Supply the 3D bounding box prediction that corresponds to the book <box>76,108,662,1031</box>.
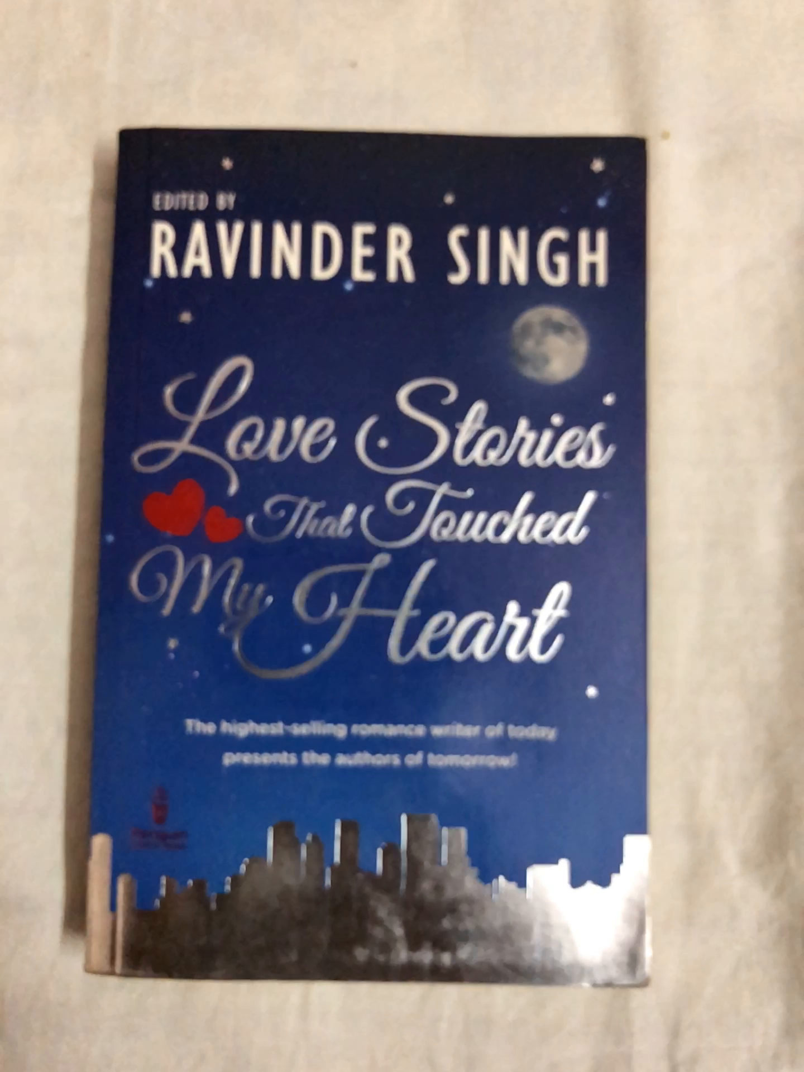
[{"bbox_3d":[-0.006,0.005,0.227,0.130,0.030,0.210,1,86,1],"label":"book"}]
